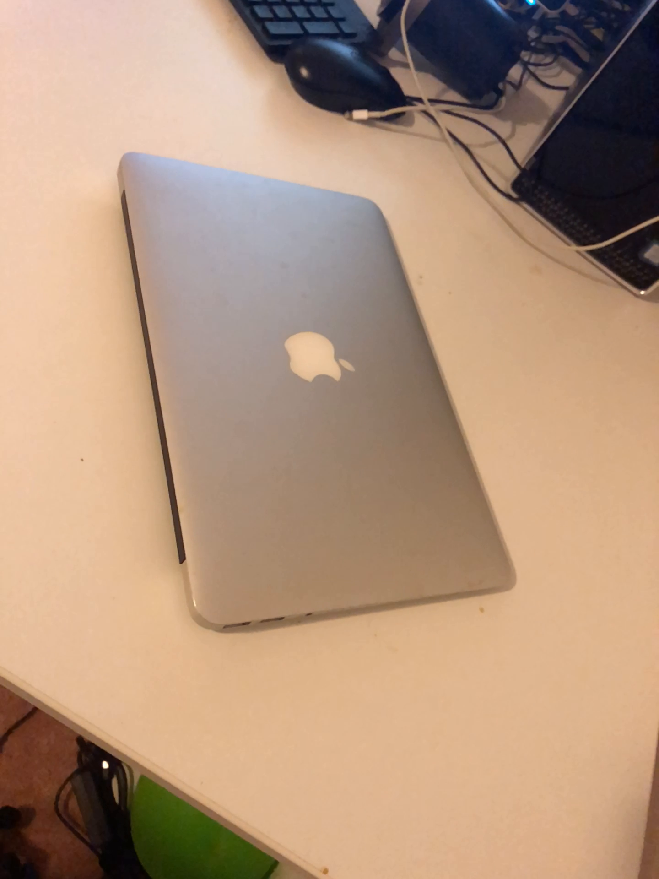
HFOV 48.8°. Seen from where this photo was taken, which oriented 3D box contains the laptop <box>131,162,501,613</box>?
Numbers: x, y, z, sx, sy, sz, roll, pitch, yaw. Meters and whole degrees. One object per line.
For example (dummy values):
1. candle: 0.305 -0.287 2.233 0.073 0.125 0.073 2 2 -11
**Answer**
1. laptop: -0.013 -0.047 0.446 0.178 0.004 0.291 0 62 -29
